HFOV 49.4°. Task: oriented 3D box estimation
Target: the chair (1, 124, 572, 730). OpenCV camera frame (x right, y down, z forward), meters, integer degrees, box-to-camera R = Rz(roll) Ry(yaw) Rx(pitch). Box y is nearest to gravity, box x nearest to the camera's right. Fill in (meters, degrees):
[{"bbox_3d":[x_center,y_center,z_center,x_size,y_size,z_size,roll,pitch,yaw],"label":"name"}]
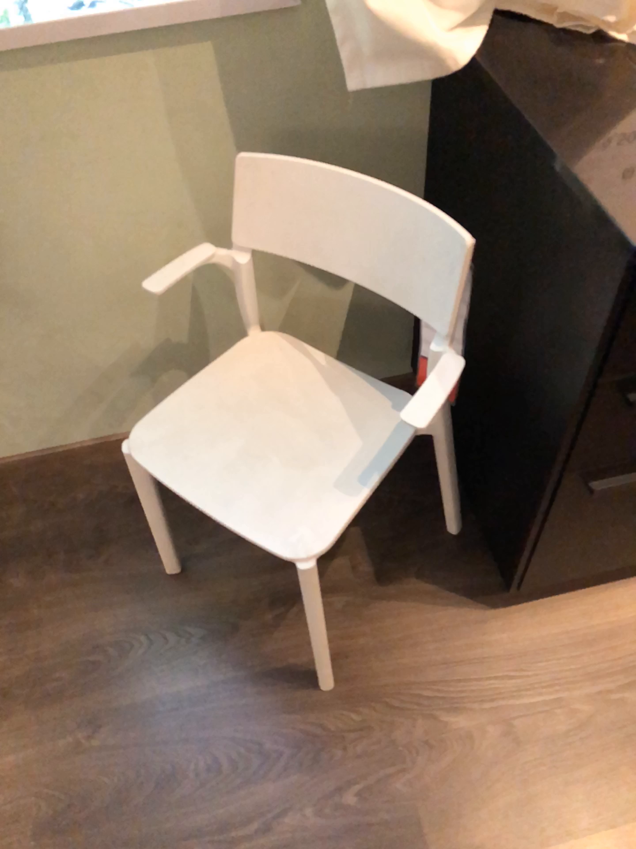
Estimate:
[{"bbox_3d":[-0.010,0.017,1.253,0.562,0.755,0.582,28,58,25],"label":"chair"}]
